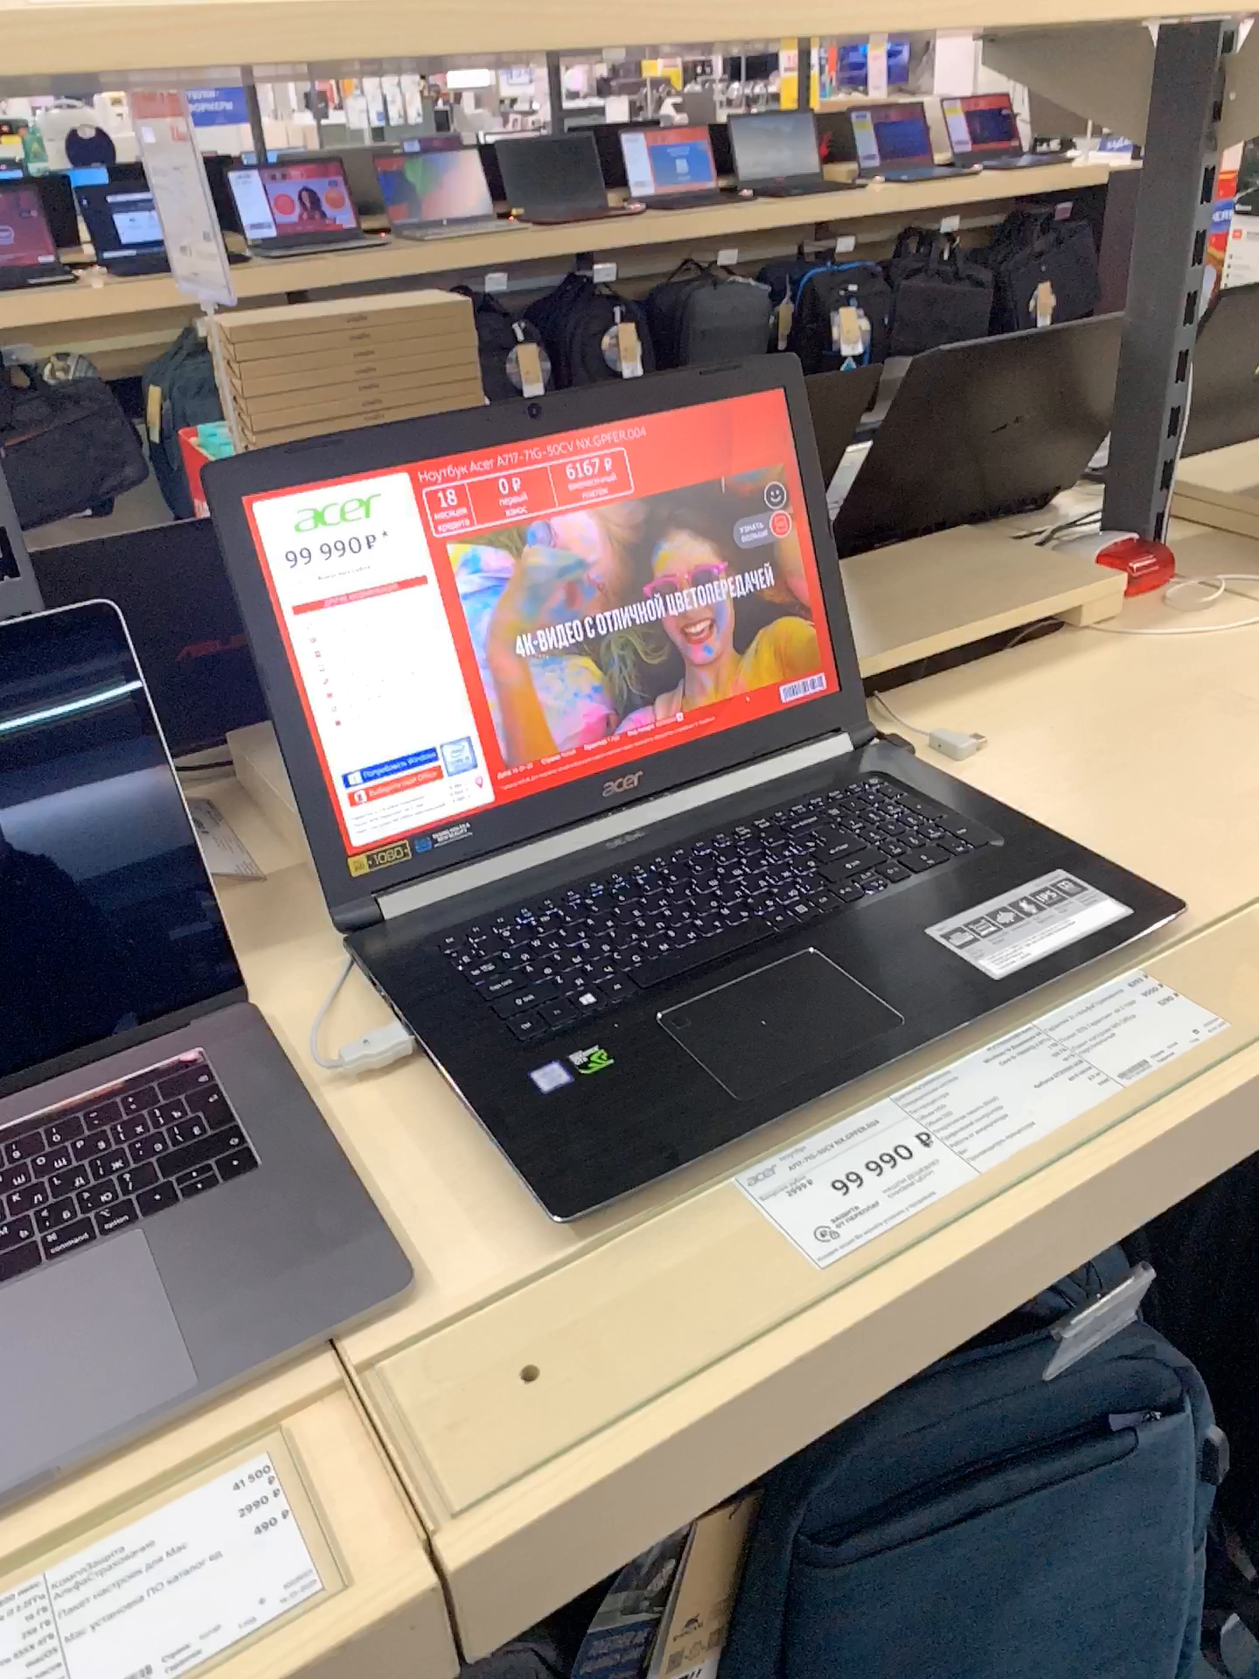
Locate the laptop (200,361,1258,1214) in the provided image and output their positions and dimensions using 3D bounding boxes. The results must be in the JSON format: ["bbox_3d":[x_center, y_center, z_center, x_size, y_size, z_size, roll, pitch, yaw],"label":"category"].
[{"bbox_3d":[0.043,-0.083,0.717,0.407,0.248,0.363,-20,34,-26],"label":"laptop"}]
